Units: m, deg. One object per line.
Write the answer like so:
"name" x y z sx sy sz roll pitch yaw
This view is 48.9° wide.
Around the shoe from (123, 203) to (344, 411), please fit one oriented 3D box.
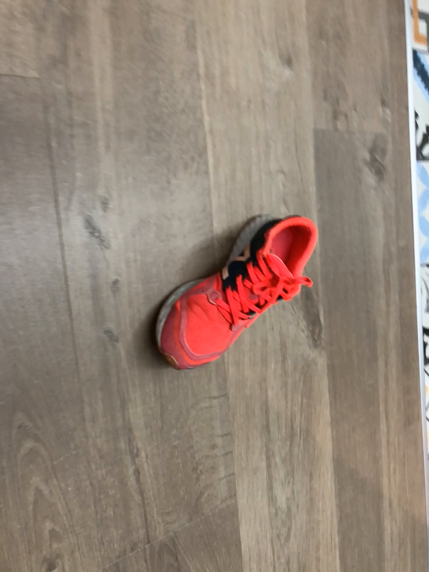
"shoe" 0.029 0.014 0.570 0.241 0.110 0.100 -44 116 -25
